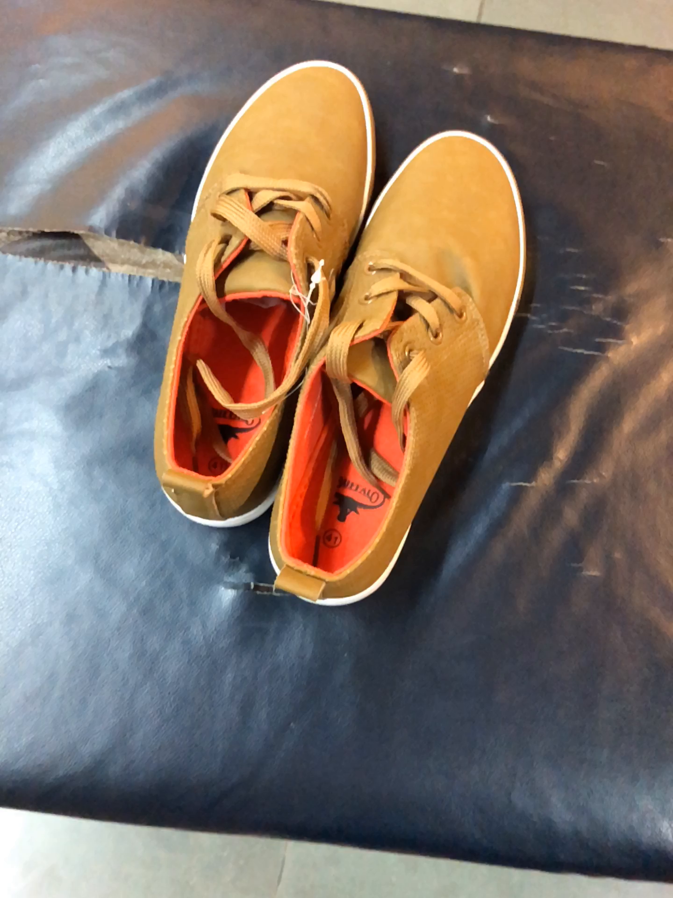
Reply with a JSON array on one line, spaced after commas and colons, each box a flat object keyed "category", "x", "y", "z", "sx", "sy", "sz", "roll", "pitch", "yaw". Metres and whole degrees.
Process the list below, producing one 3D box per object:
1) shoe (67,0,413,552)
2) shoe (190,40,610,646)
[{"category": "shoe", "x": -0.036, "y": -0.094, "z": 0.373, "sx": 0.100, "sy": 0.097, "sz": 0.266, "roll": 10, "pitch": 75, "yaw": 1}, {"category": "shoe", "x": 0.034, "y": -0.048, "z": 0.363, "sx": 0.095, "sy": 0.091, "sz": 0.261, "roll": 21, "pitch": 76, "yaw": 4}]
